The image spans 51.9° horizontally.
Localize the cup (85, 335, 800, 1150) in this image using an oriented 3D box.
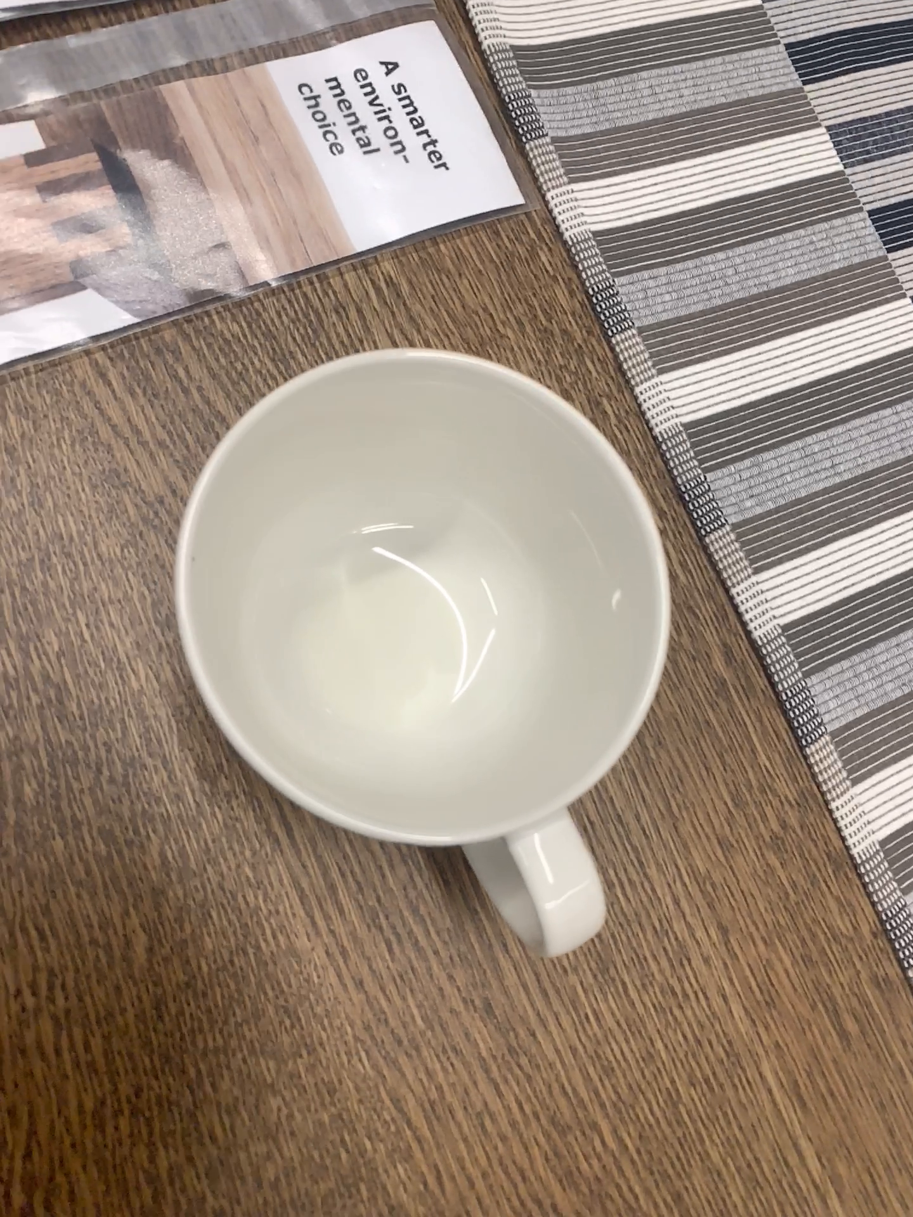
[{"bbox_3d":[-0.008,0.024,0.217,0.100,0.070,0.130,-21,84,-17],"label":"cup"}]
